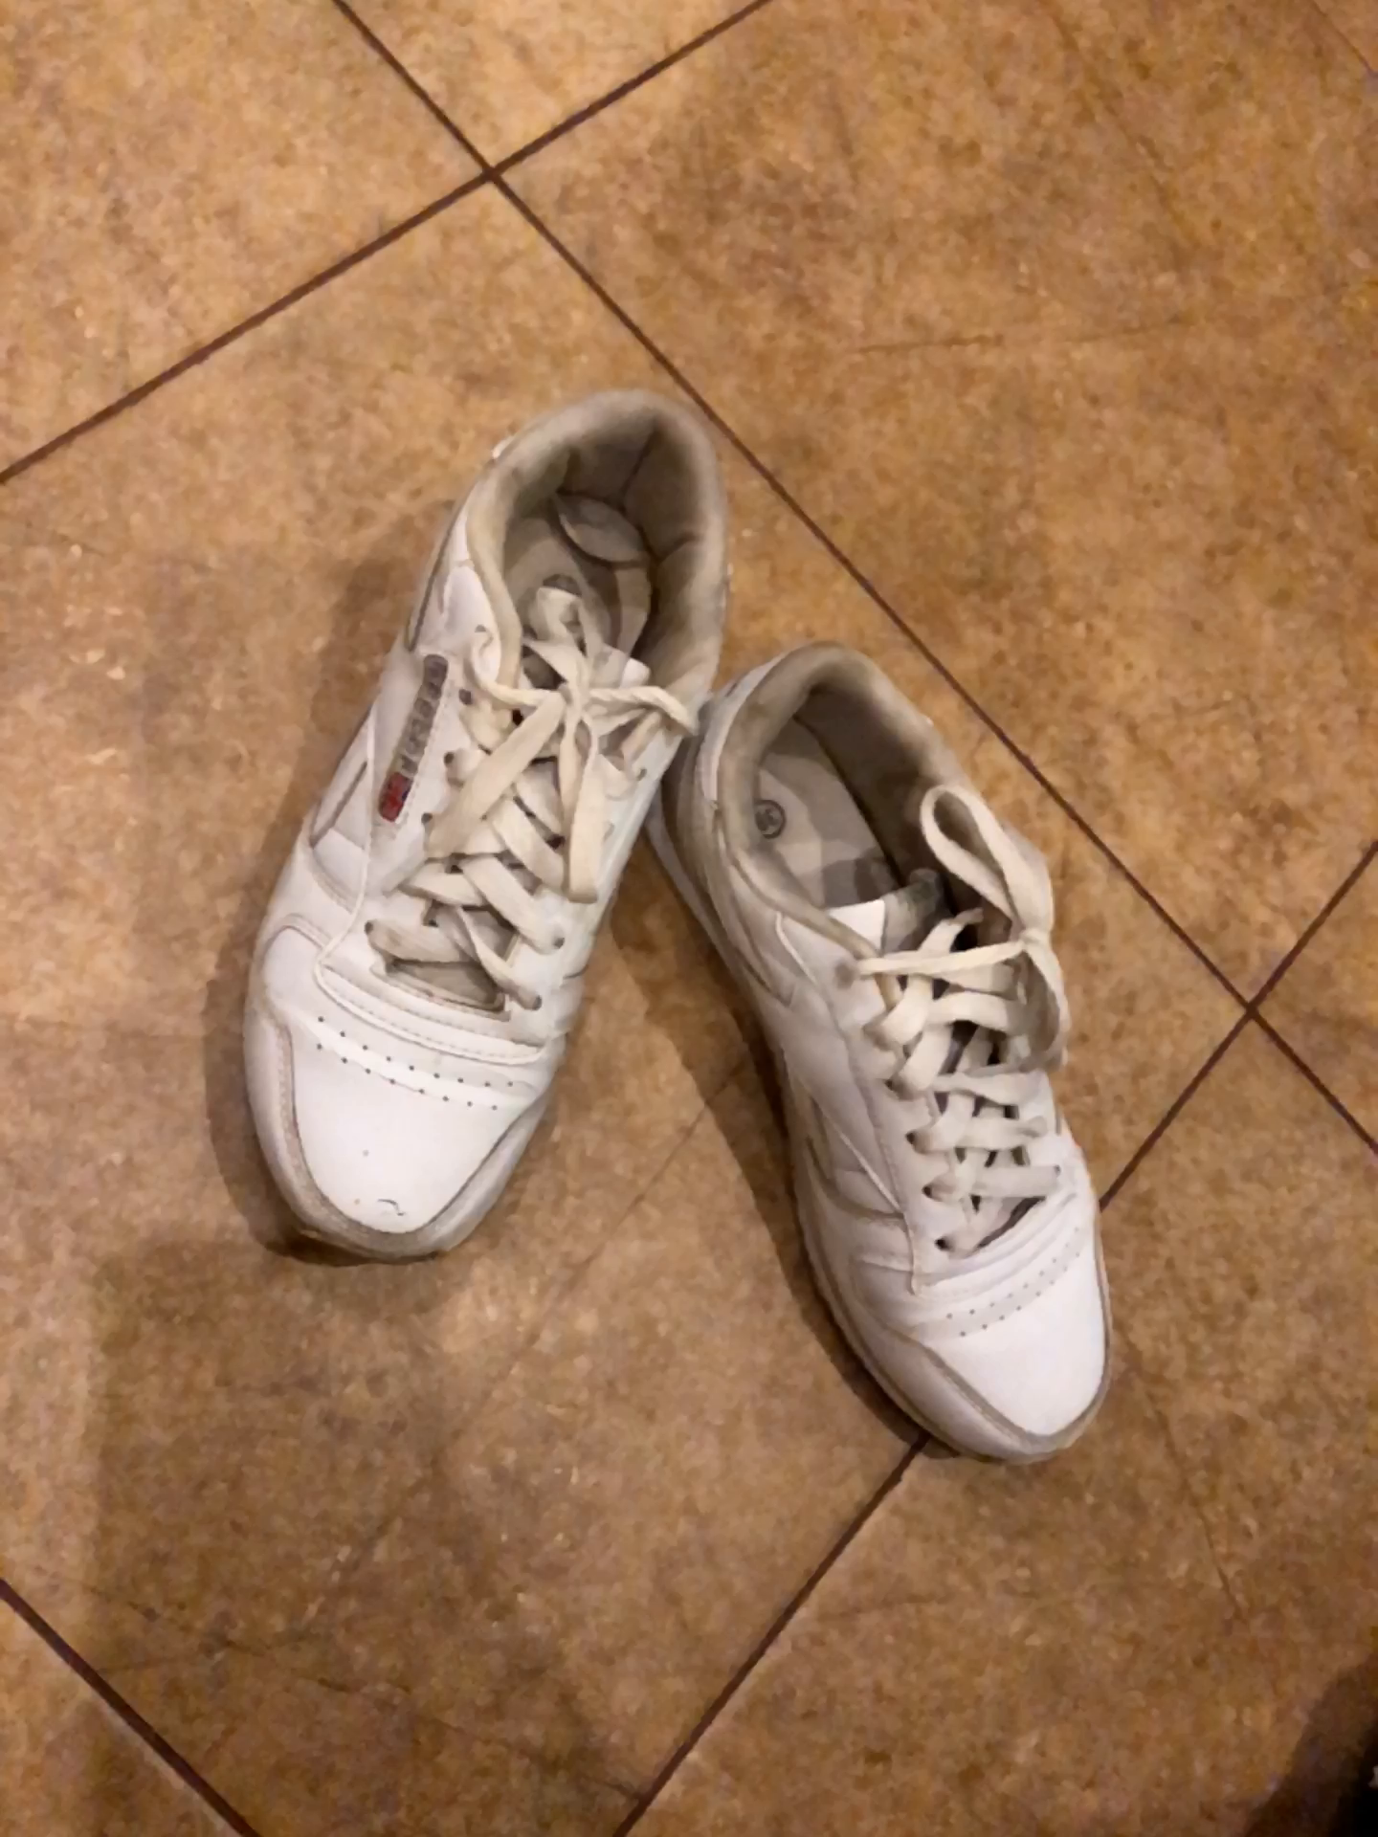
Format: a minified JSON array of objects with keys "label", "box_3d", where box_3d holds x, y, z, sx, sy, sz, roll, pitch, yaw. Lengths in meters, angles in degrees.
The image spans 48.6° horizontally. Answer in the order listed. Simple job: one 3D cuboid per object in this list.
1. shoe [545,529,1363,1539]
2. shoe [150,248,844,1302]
[{"label":"shoe","box_3d":[0.070,0.032,0.454,0.110,0.100,0.250,-23,85,-24]},{"label":"shoe","box_3d":[-0.052,-0.036,0.430,0.100,0.100,0.261,21,70,-13]}]
